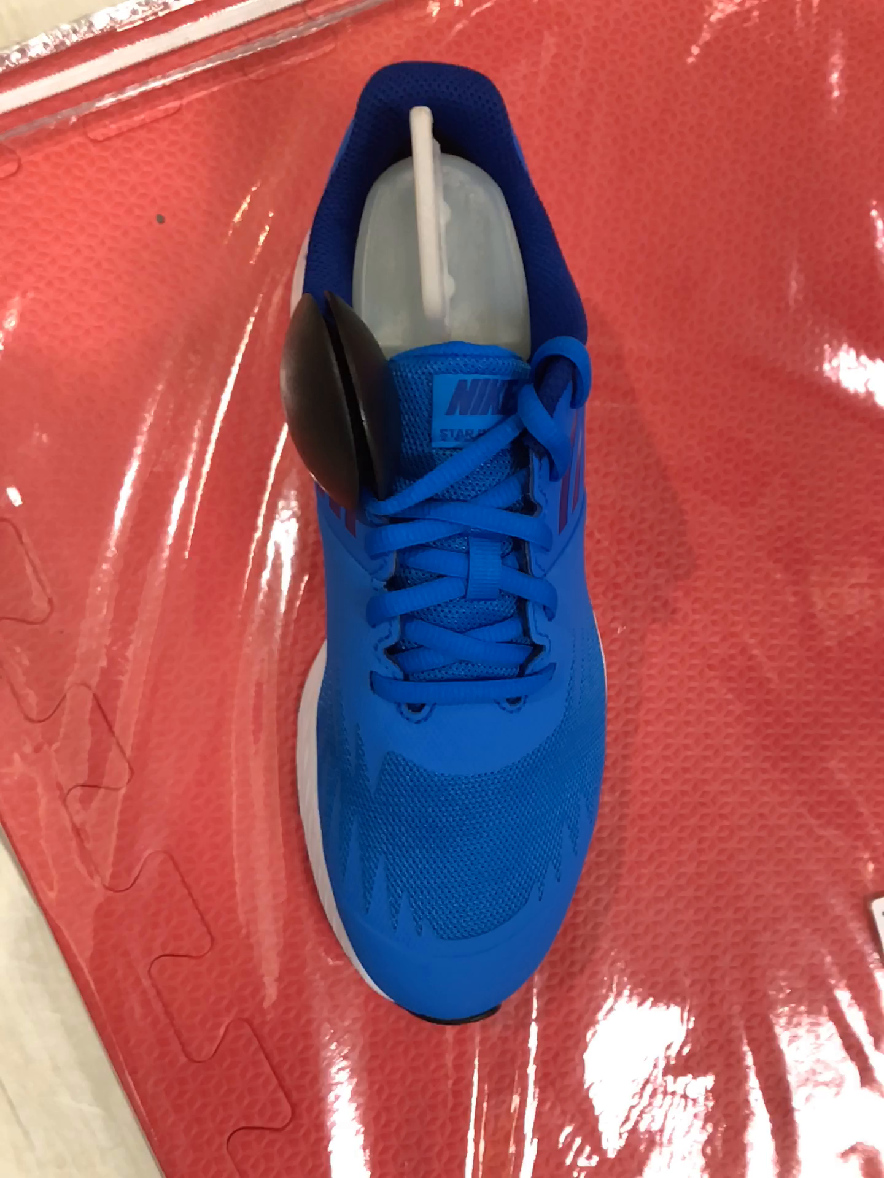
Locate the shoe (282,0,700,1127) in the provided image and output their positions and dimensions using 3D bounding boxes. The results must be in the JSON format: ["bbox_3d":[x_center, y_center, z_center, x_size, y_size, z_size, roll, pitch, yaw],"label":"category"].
[{"bbox_3d":[0.004,-0.011,0.297,0.100,0.100,0.280,0,84,-9],"label":"shoe"}]
